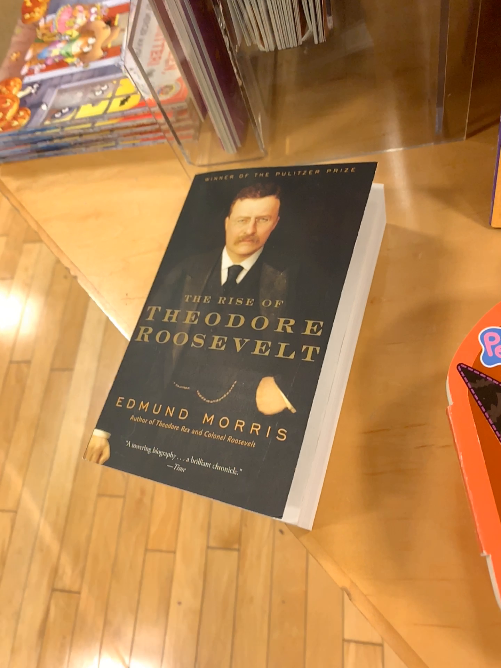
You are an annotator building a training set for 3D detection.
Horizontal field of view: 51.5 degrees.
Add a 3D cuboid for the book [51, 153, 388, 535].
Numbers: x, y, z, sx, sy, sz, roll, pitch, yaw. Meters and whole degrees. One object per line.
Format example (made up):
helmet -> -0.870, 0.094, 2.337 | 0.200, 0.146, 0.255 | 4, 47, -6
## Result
book -> -0.007, -0.004, 0.306 | 0.130, 0.066, 0.195 | 10, 70, 22
